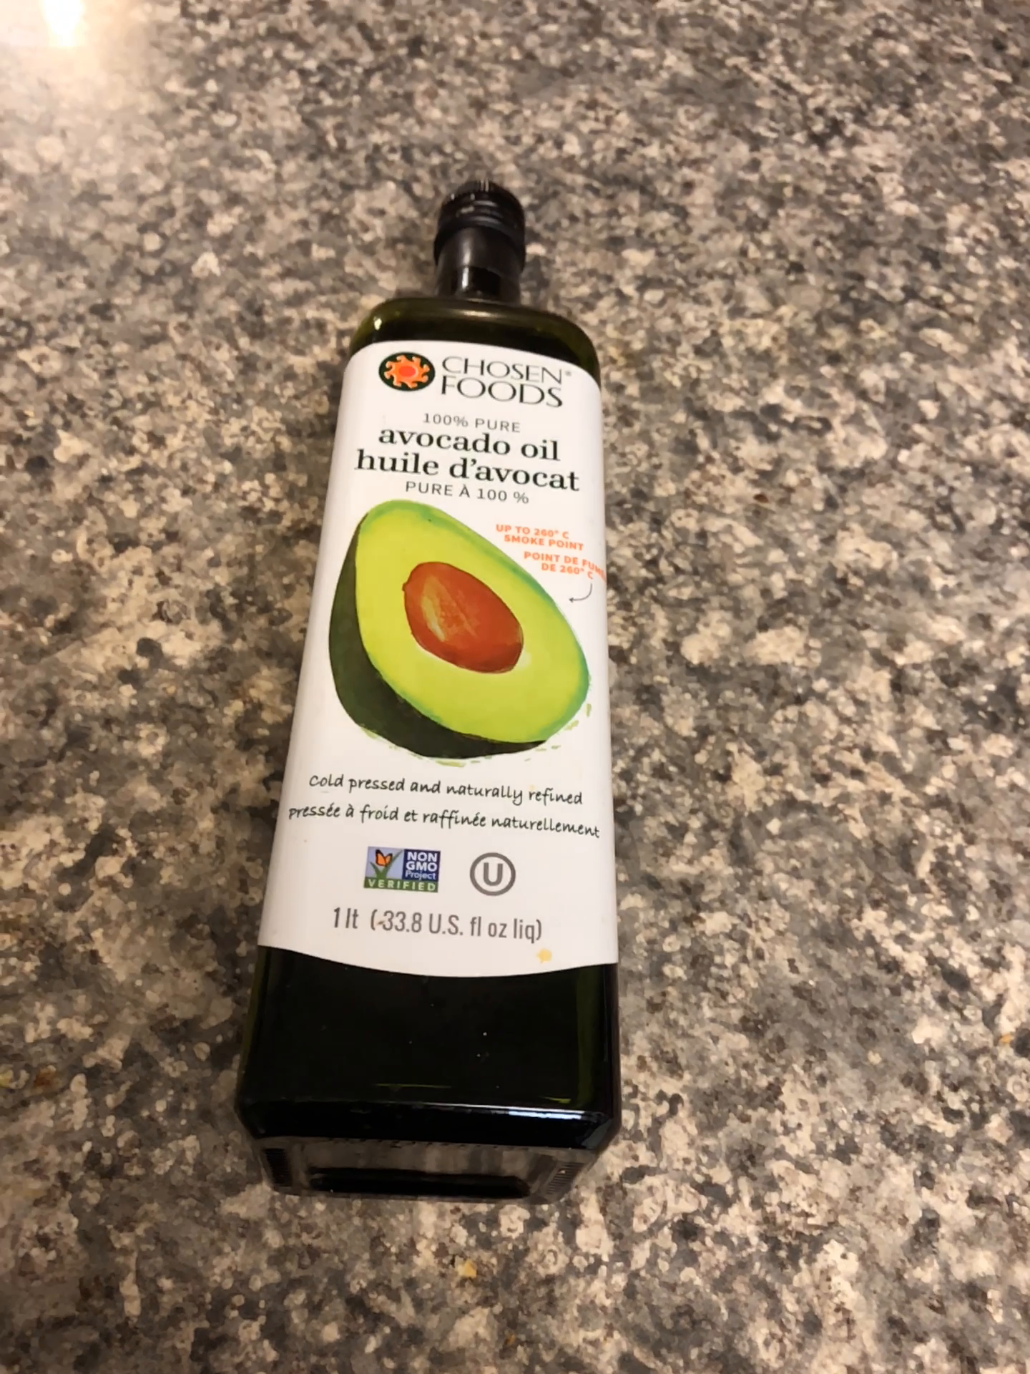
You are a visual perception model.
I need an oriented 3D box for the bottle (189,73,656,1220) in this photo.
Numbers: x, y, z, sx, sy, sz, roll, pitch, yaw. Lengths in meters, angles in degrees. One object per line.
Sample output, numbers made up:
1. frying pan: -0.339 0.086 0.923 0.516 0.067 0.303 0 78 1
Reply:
1. bottle: -0.014 -0.037 0.310 0.080 0.070 0.321 4 58 -4
